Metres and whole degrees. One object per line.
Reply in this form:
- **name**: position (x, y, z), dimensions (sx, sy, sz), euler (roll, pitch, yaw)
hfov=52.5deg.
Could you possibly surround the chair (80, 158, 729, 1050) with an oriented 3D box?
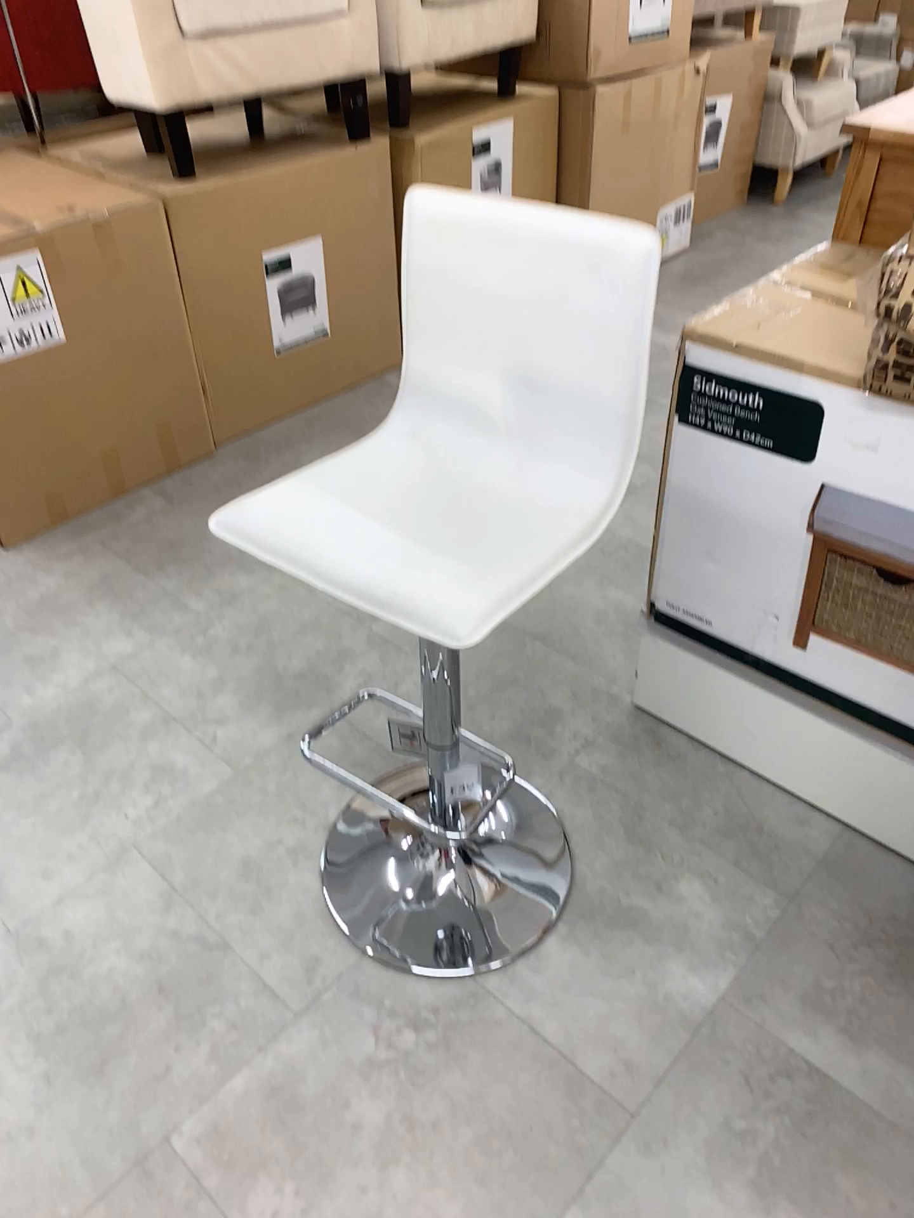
- **chair**: position (-0.033, 0.022, 1.214), dimensions (0.461, 0.988, 0.445), euler (25, 46, 29)

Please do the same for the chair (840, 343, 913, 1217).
- **chair**: position (0.786, 0.317, 0.868), dimensions (0.471, 0.909, 0.444), euler (28, 47, 32)
